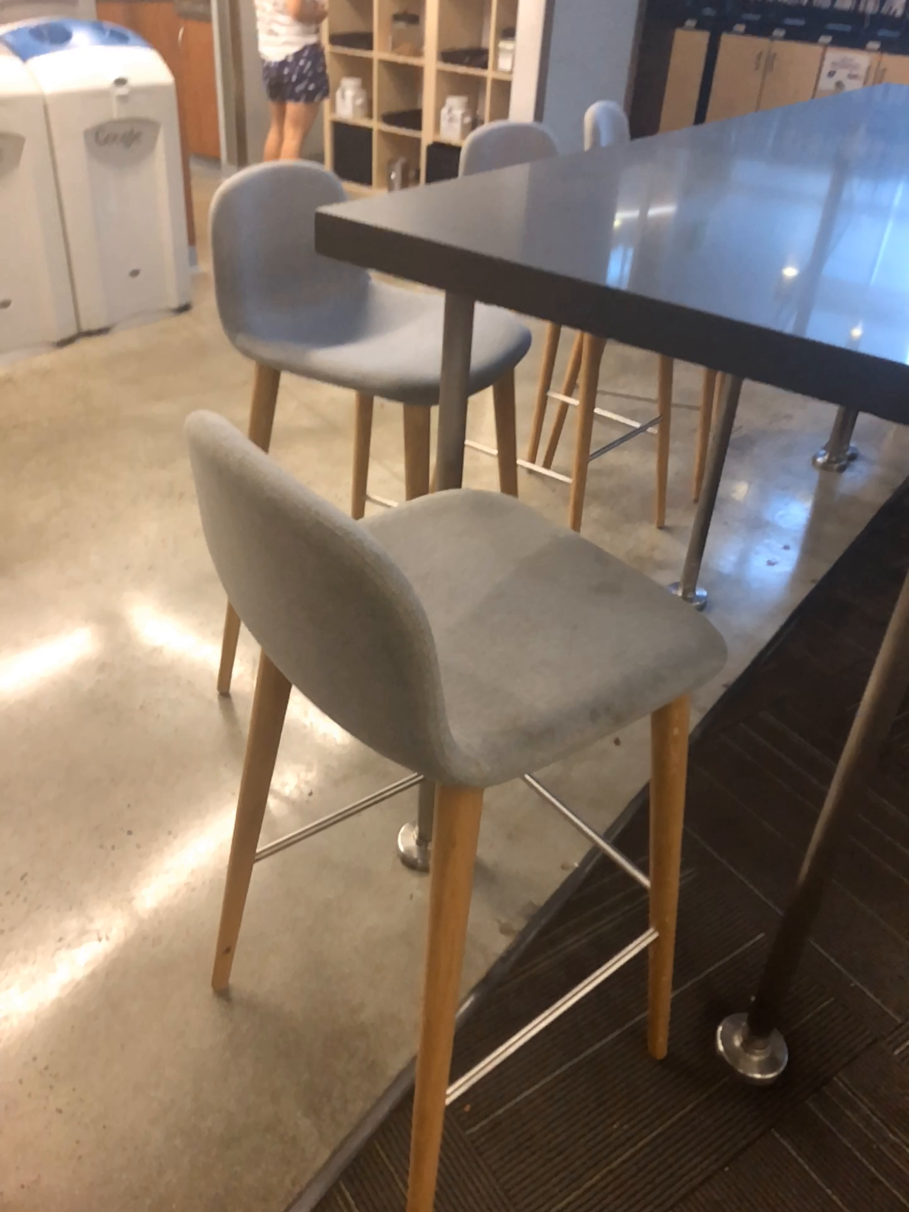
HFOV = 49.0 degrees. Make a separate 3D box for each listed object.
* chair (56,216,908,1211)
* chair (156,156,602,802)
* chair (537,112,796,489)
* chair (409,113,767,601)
[{"bbox_3d":[0.032,0.144,1.167,0.664,0.981,0.502,-20,41,-32],"label":"chair"},{"bbox_3d":[-0.126,-0.241,1.870,0.540,0.981,0.504,17,36,18],"label":"chair"},{"bbox_3d":[0.601,-0.888,2.866,0.510,0.893,0.494,13,30,14],"label":"chair"},{"bbox_3d":[0.297,-0.626,2.448,0.541,0.982,0.504,24,34,27],"label":"chair"}]
